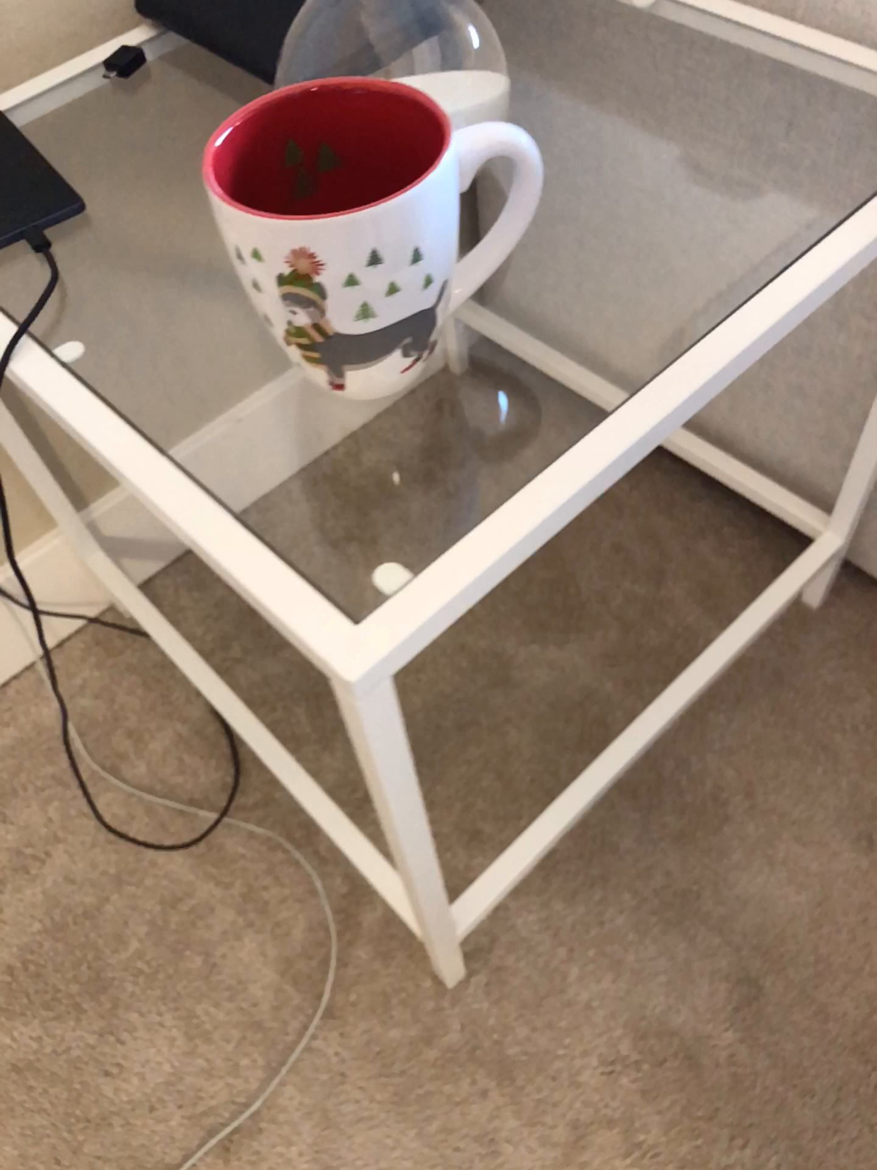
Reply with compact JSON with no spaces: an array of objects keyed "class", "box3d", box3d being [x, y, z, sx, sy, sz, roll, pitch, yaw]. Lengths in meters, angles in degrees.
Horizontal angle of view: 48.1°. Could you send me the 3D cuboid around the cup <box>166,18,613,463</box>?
[{"class":"cup","box3d":[-0.019,-0.146,0.421,0.150,0.110,0.100,-18,55,-7]}]
